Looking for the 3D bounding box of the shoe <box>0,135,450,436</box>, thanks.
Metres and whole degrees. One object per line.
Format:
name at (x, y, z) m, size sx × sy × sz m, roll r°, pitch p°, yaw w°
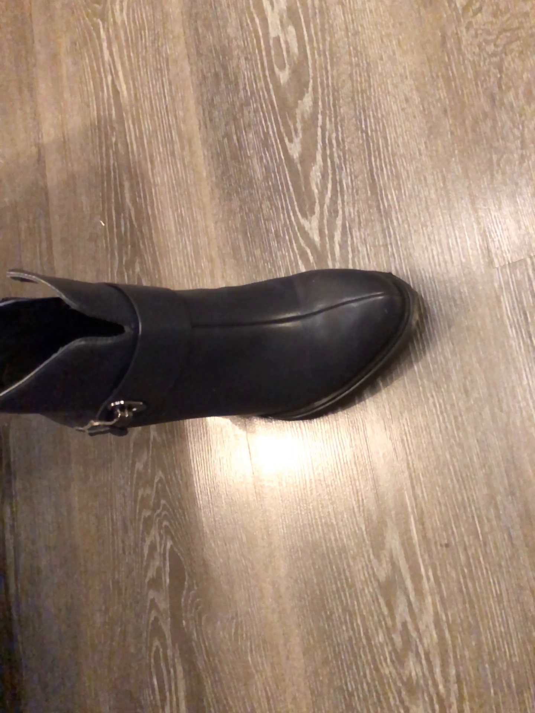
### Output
shoe at (-0.037, -0.009, 0.336) m, size 0.221 × 0.179 × 0.100 m, roll -7°, pitch 81°, yaw 33°
